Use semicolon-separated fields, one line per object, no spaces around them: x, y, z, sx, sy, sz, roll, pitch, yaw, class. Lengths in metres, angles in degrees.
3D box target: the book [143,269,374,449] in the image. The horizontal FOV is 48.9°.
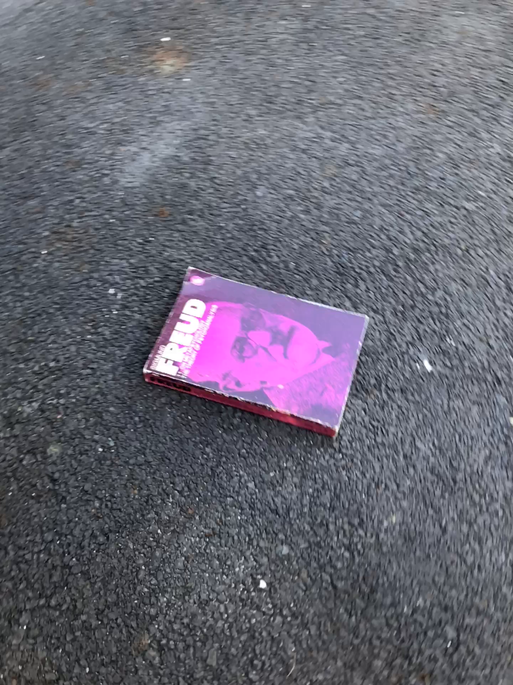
0.006;0.011;0.564;0.194;0.031;0.131;16;61;9;book
